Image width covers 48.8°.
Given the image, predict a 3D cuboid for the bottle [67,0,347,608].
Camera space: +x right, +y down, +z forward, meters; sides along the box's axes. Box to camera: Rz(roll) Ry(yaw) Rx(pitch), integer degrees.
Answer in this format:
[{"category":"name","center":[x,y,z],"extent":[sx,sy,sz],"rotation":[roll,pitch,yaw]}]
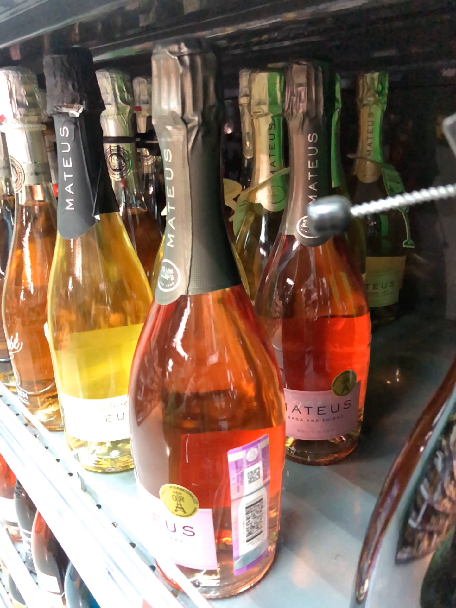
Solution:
[{"category":"bottle","center":[-0.006,0.020,0.291],"extent":[0.090,0.319,0.100],"rotation":[-18,25,-37]}]
